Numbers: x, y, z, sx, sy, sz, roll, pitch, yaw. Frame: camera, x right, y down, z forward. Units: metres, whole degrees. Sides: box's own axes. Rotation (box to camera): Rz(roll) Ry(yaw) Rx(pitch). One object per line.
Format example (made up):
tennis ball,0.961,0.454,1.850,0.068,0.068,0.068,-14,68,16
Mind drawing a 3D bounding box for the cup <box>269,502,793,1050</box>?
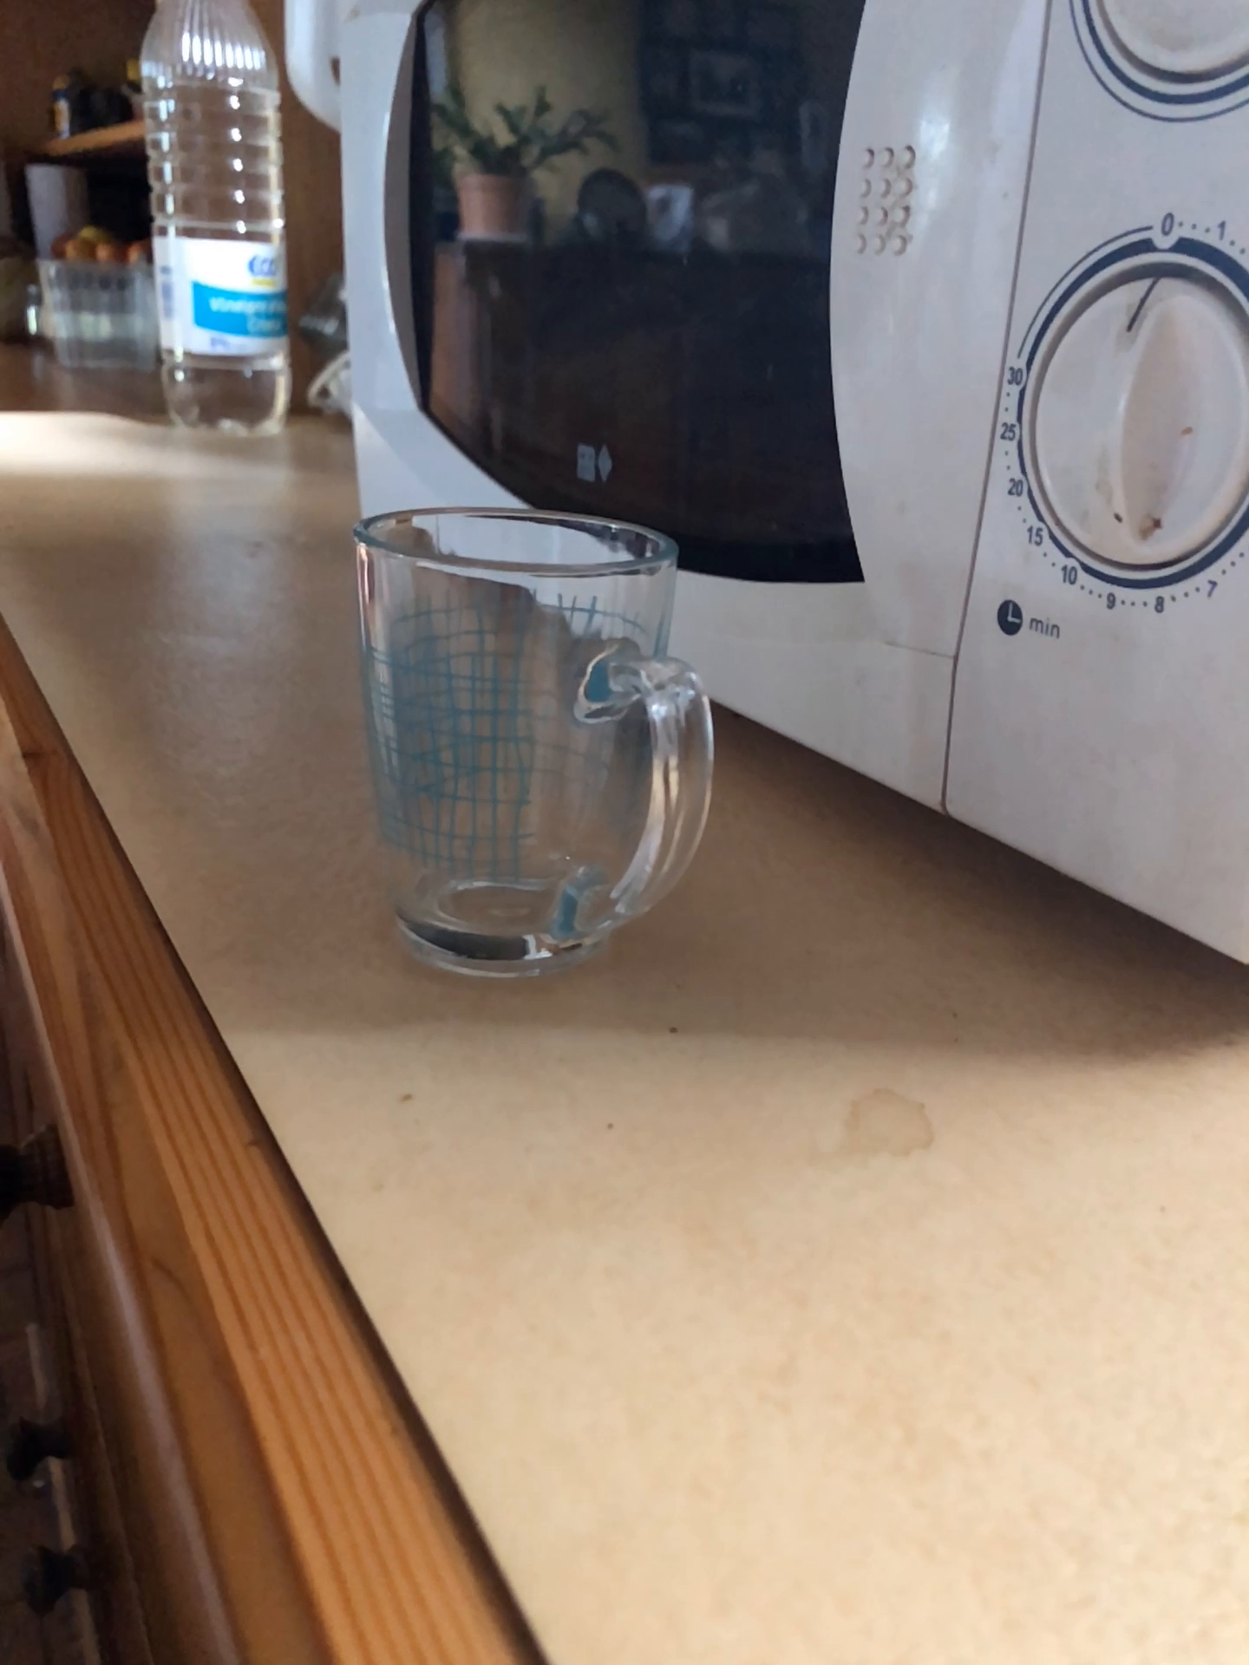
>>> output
cup,-0.021,-0.017,0.249,0.060,0.070,0.080,-10,25,-29
